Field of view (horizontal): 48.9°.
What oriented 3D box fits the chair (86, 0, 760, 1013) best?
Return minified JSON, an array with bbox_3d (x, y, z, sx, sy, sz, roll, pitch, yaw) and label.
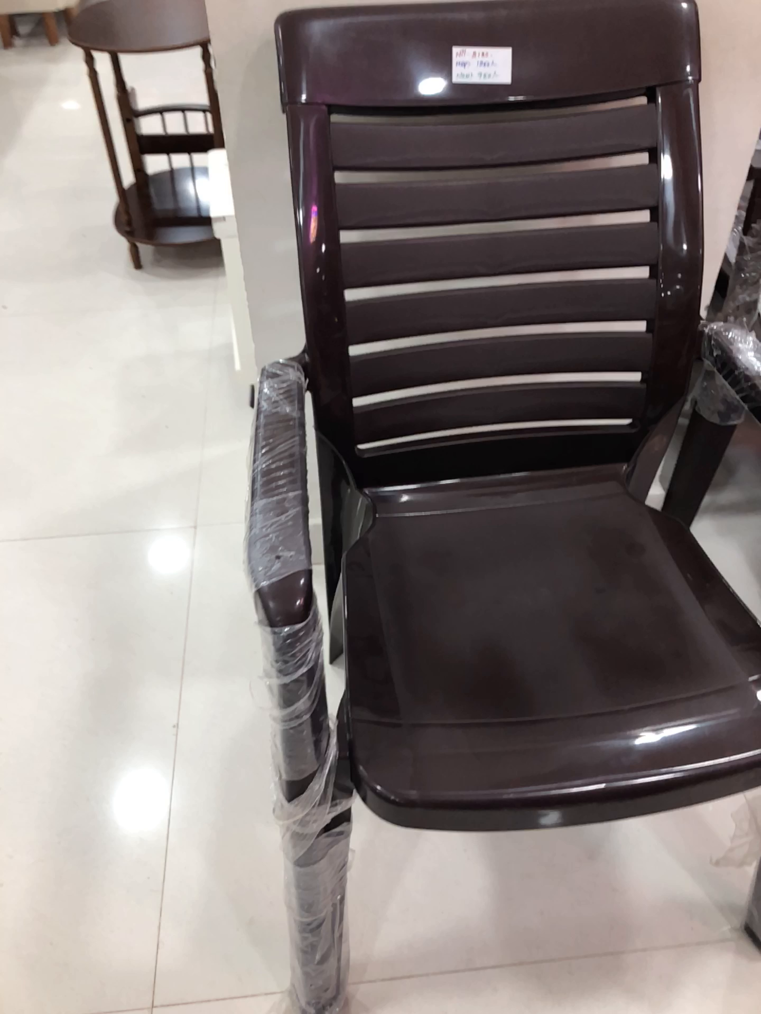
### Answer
[{"bbox_3d":[0.167,-0.014,0.940,0.640,1.003,0.674,-5,43,-5],"label":"chair"}]
